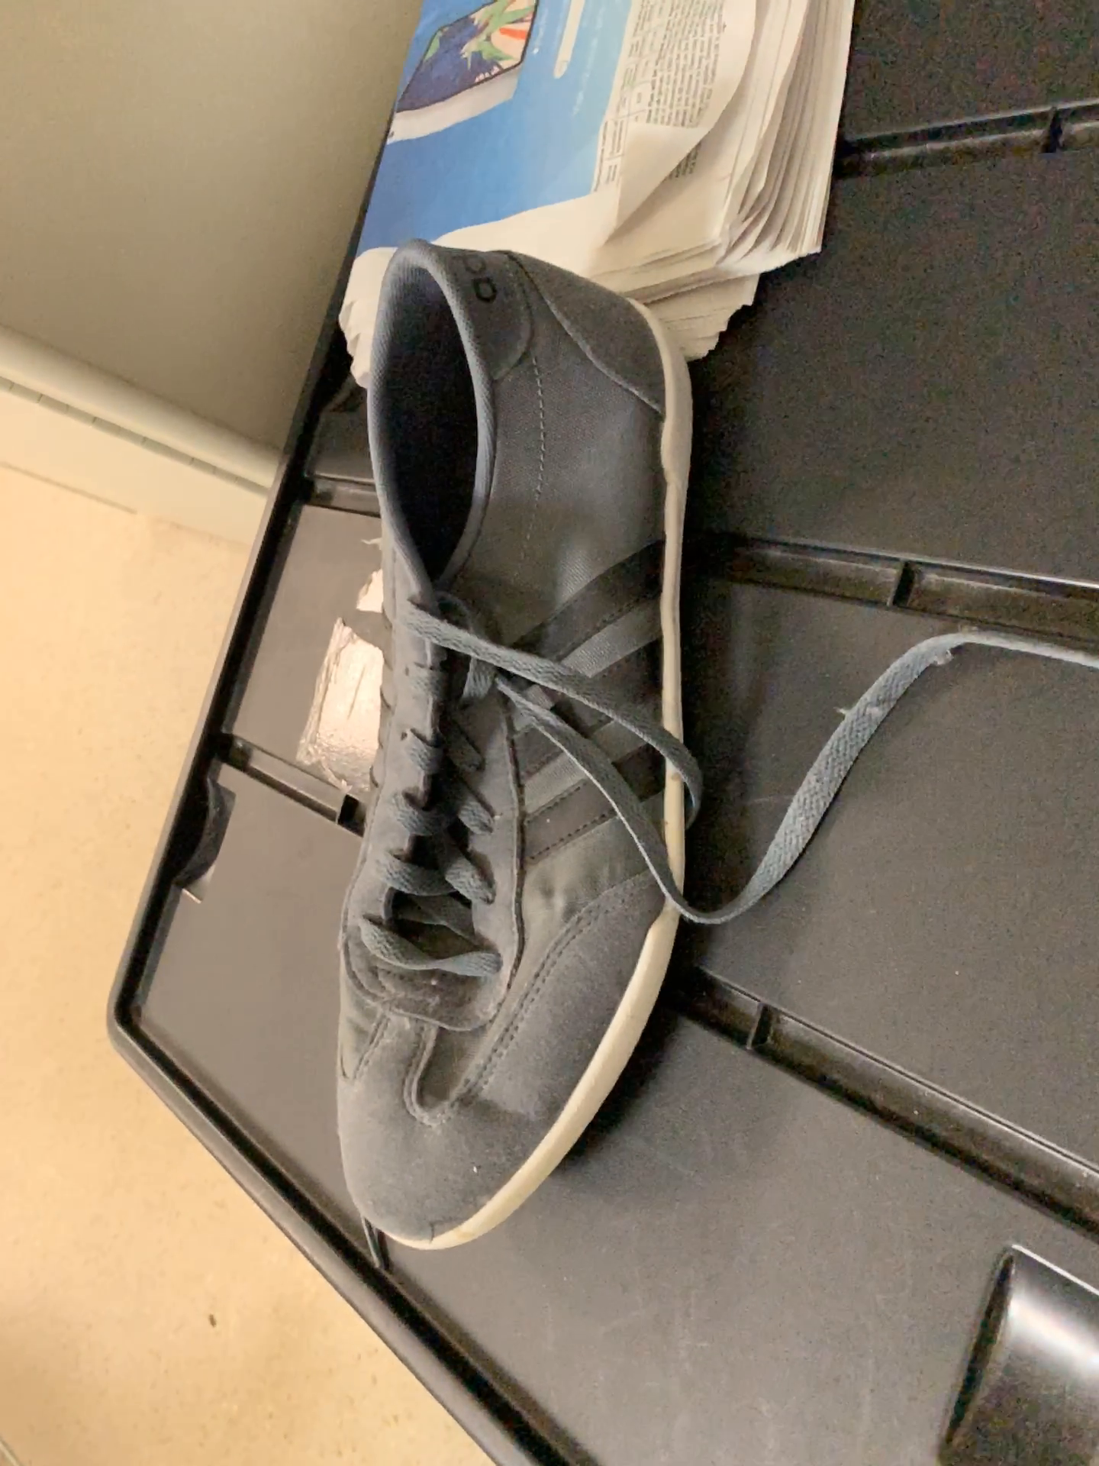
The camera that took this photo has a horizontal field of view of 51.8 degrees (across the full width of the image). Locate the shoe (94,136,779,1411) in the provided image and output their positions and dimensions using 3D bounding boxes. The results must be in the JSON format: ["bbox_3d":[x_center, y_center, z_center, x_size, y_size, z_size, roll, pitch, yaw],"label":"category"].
[{"bbox_3d":[-0.028,0.004,0.299,0.114,0.077,0.268,2,79,44],"label":"shoe"}]
